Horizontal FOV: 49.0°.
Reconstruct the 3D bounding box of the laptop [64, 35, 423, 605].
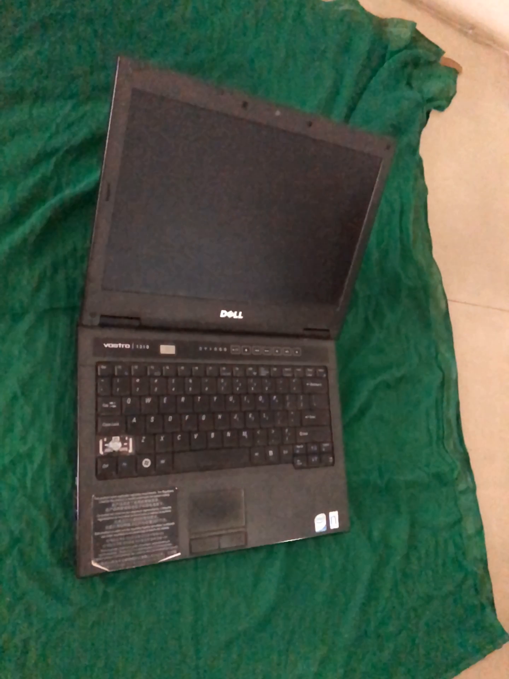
[{"bbox_3d":[-0.001,-0.011,0.554,0.314,0.126,0.438,3,82,-29],"label":"laptop"}]
